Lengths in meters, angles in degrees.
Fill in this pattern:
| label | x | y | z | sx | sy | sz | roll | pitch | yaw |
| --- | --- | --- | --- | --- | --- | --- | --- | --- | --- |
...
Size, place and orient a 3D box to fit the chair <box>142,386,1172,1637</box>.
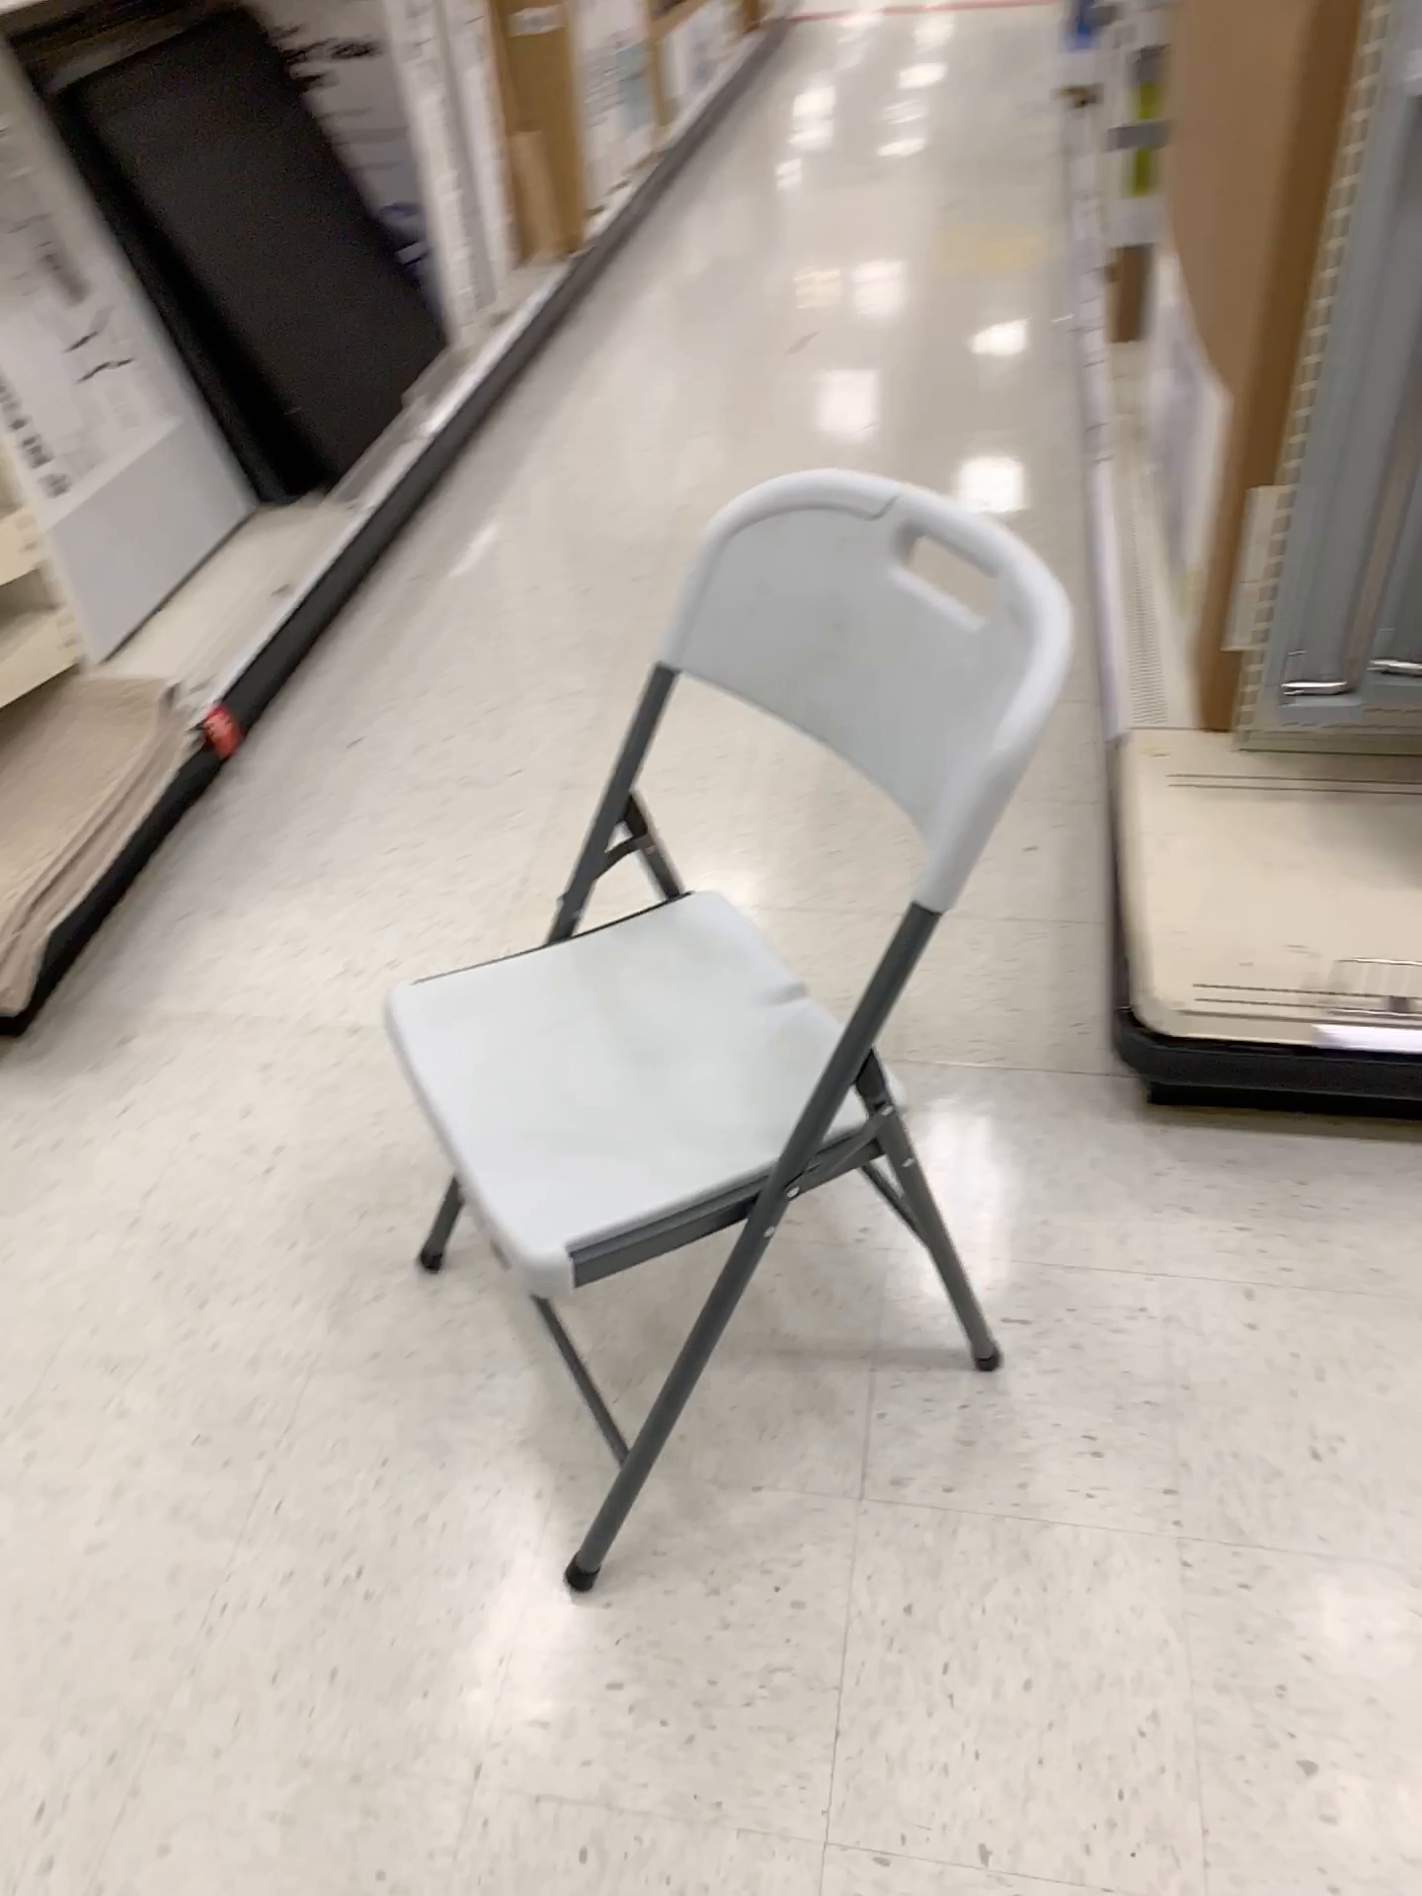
| label | x | y | z | sx | sy | sz | roll | pitch | yaw |
| --- | --- | --- | --- | --- | --- | --- | --- | --- | --- |
| chair | -0.039 | 0.055 | 1.308 | 0.570 | 0.846 | 0.522 | -22 | 42 | -19 |
